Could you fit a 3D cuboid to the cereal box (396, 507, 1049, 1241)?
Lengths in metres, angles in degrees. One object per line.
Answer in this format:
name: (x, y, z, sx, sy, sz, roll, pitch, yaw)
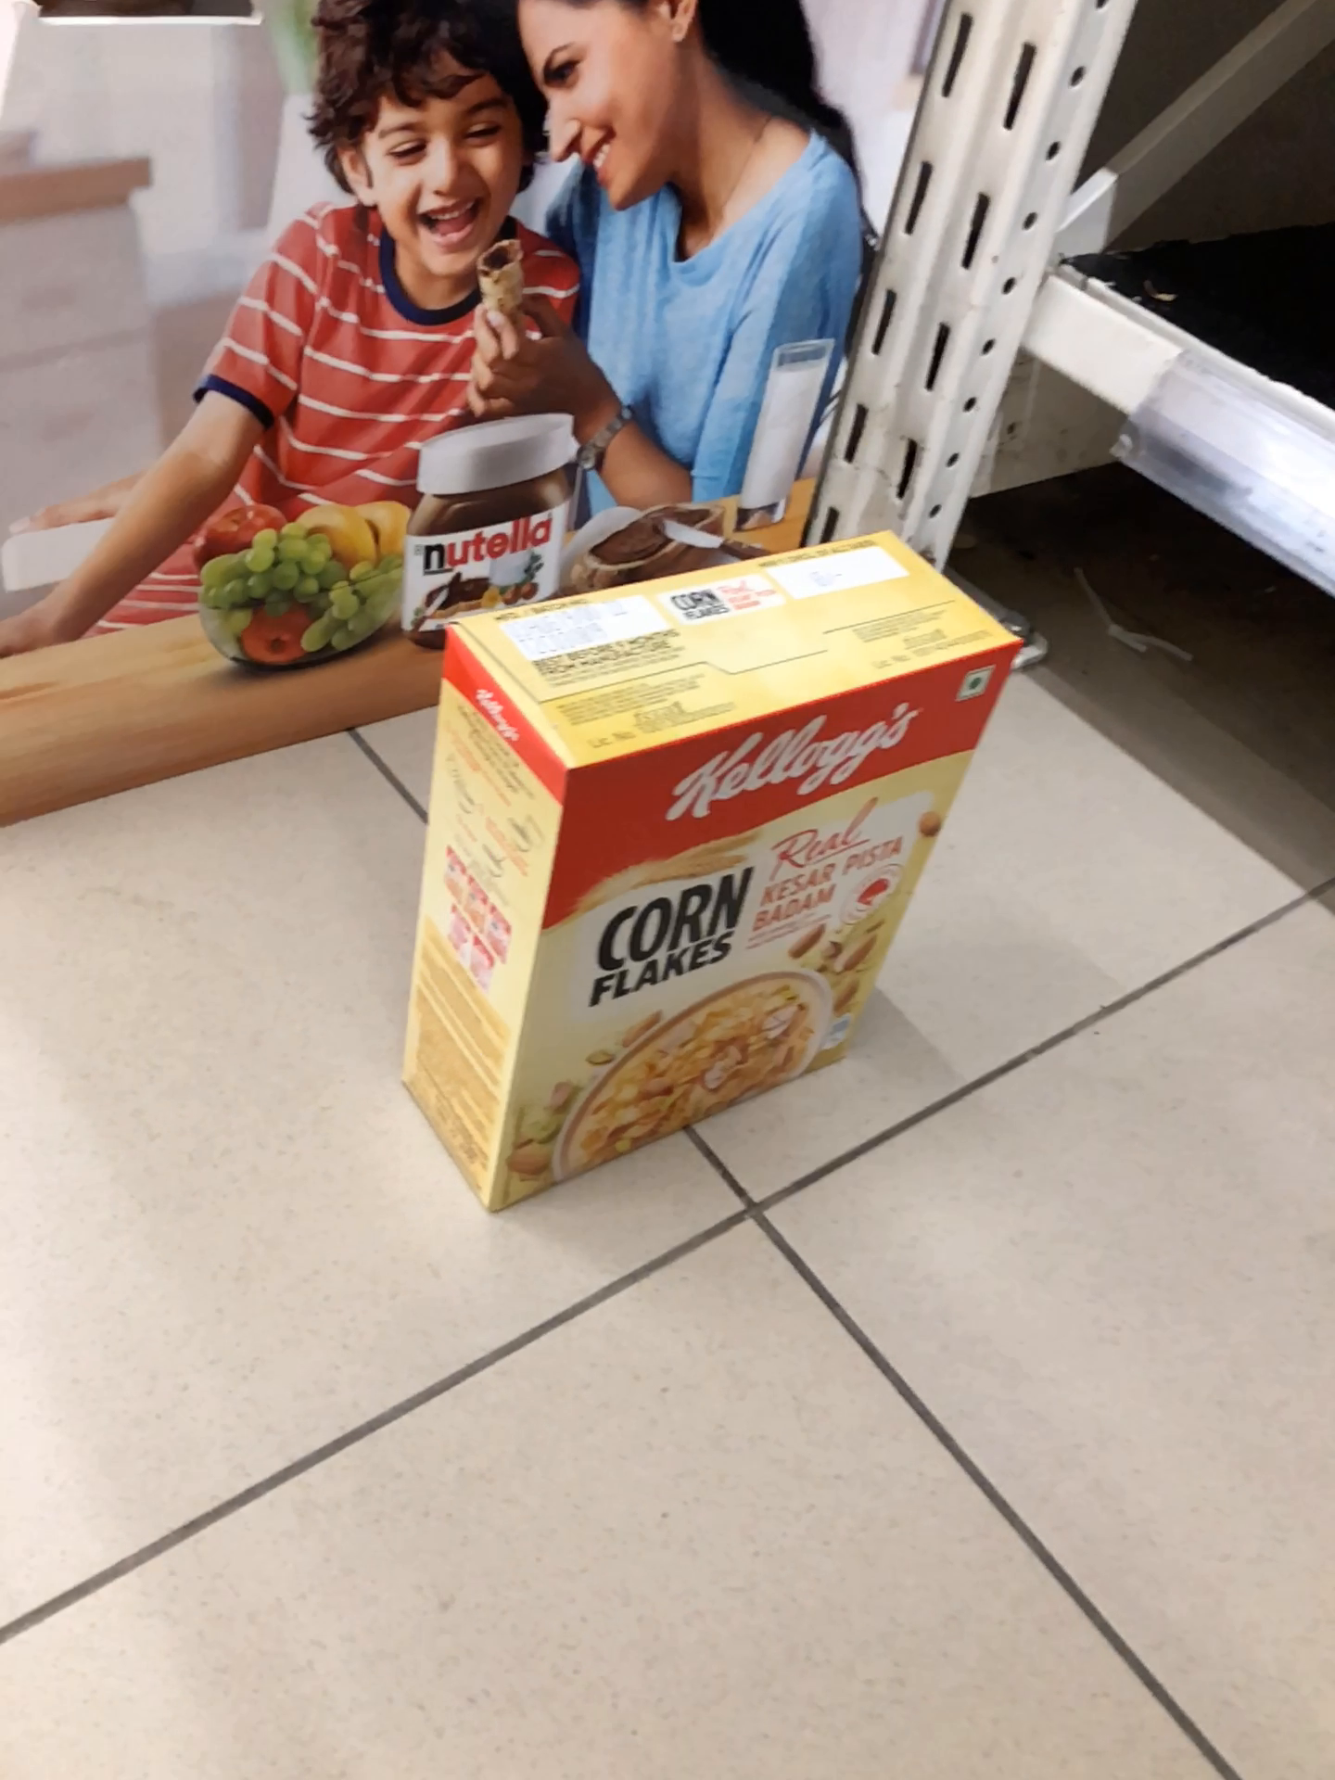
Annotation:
cereal box: (0.008, -0.004, 0.406, 0.141, 0.169, 0.060, -21, 52, -32)
